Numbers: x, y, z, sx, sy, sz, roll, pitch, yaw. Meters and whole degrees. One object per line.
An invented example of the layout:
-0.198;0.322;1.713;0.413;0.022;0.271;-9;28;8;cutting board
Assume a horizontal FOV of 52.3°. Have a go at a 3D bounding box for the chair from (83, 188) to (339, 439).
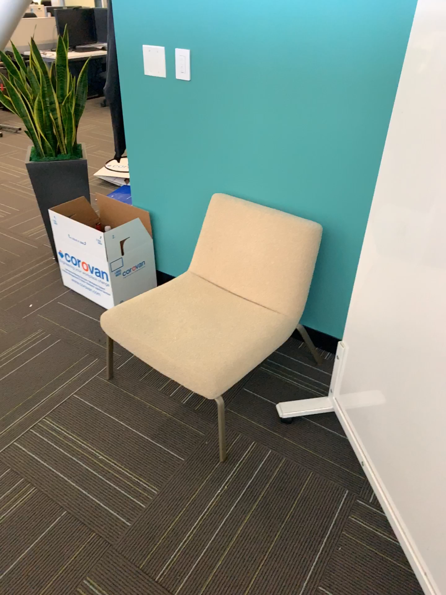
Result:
-0.030;-0.003;1.886;0.662;0.566;0.732;24;40;30;chair
